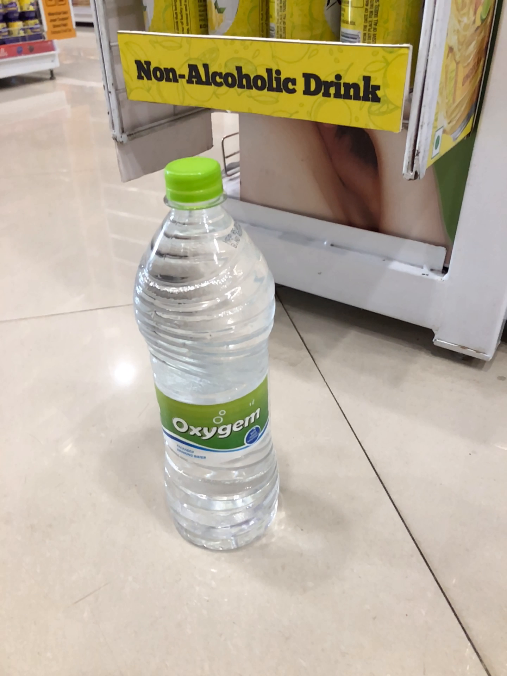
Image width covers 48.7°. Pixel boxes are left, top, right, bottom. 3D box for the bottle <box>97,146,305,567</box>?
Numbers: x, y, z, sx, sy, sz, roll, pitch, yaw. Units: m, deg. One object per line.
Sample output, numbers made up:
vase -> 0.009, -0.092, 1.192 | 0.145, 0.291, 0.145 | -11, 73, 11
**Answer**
bottle -> -0.019, 0.024, 0.350 | 0.090, 0.258, 0.081 | 3, 33, 6
